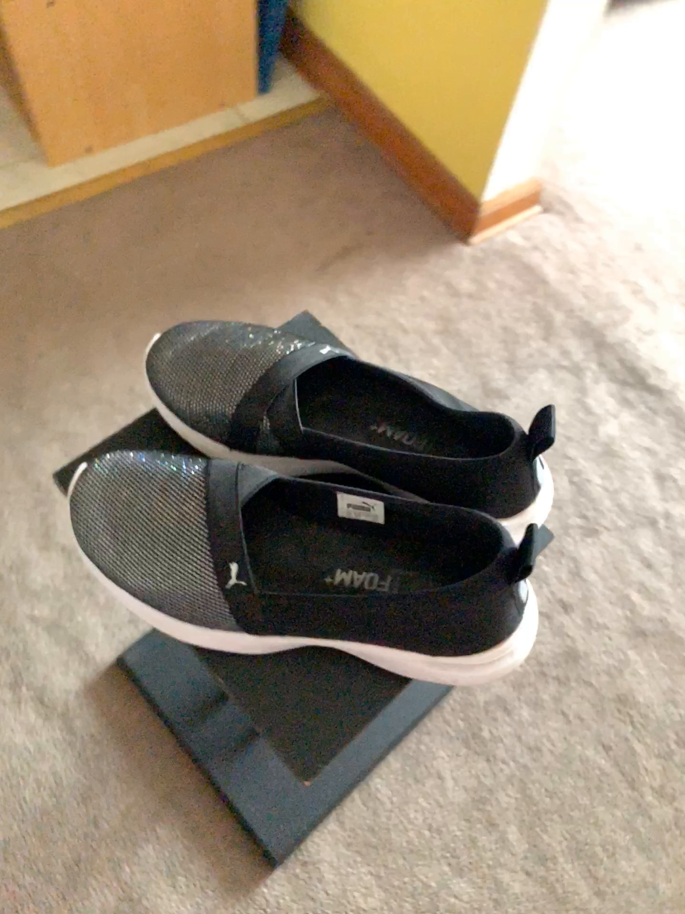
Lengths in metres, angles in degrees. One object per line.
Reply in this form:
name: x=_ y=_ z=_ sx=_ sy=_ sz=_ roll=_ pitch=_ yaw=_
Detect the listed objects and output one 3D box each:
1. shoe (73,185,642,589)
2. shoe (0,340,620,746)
shoe: x=0.008 y=-0.036 z=0.390 sx=0.260 sy=0.099 sz=0.101 roll=21 pitch=61 yaw=5
shoe: x=-0.015 y=0.046 z=0.348 sx=0.256 sy=0.099 sz=0.101 roll=16 pitch=61 yaw=3
